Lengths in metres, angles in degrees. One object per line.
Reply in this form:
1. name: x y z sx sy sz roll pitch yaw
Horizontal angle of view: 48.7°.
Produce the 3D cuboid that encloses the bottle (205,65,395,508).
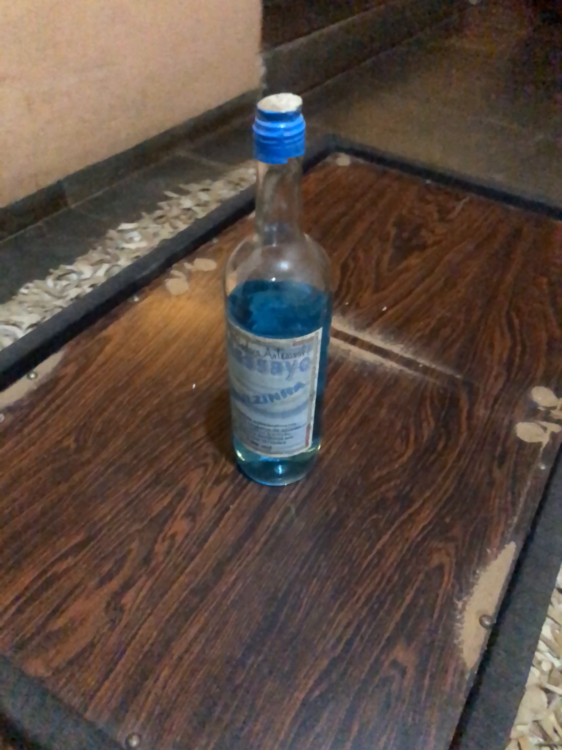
1. bottle: 0.005 -0.040 0.435 0.080 0.298 0.081 2 42 -2
